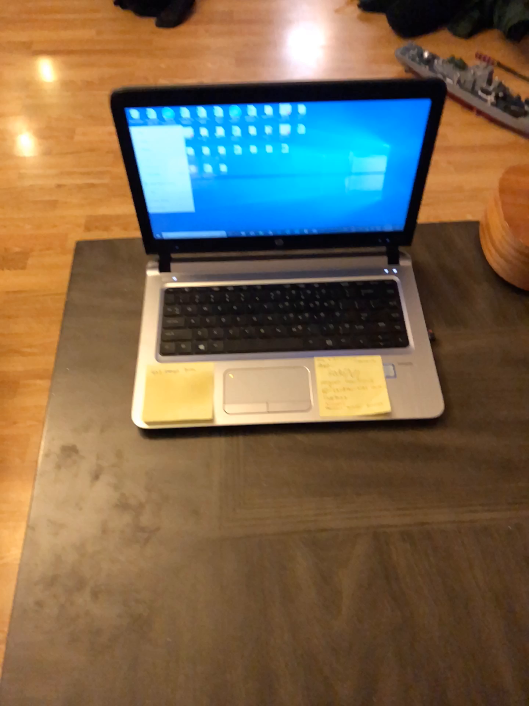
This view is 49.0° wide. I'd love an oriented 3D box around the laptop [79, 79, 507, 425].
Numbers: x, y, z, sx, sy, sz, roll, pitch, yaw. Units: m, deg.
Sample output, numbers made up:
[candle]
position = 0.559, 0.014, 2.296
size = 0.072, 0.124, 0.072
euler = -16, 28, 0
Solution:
[laptop]
position = 0.018, -0.096, 0.586
size = 0.317, 0.217, 0.247
euler = -2, 57, -1
